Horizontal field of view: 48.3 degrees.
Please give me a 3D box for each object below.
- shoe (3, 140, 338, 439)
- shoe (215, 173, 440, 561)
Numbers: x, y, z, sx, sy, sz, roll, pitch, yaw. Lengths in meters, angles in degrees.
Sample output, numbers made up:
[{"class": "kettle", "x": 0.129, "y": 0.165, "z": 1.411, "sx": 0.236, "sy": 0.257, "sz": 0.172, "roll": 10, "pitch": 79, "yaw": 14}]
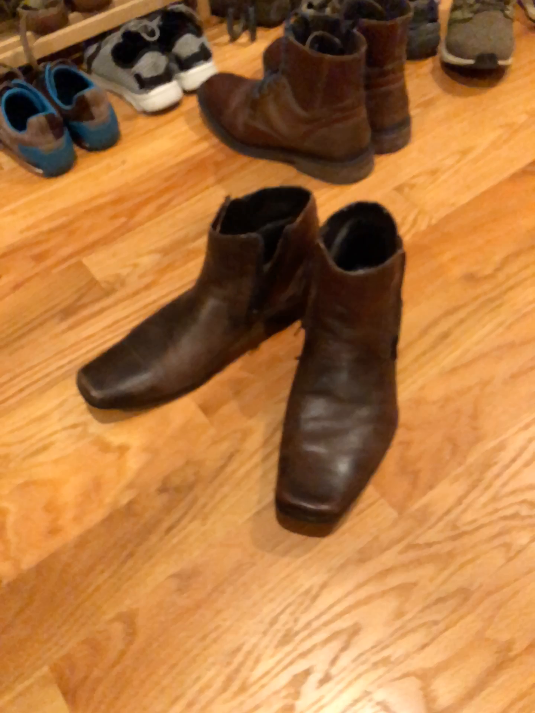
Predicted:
[{"class": "shoe", "x": -0.078, "y": -0.070, "z": 0.596, "sx": 0.291, "sy": 0.142, "sz": 0.109, "roll": -33, "pitch": 57, "yaw": -16}, {"class": "shoe", "x": 0.068, "y": -0.002, "z": 0.535, "sx": 0.109, "sy": 0.152, "sz": 0.301, "roll": 11, "pitch": 56, "yaw": 14}]
